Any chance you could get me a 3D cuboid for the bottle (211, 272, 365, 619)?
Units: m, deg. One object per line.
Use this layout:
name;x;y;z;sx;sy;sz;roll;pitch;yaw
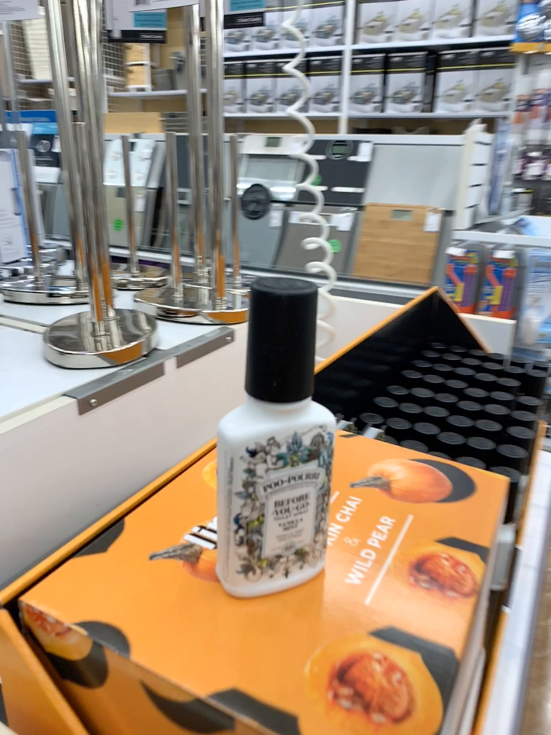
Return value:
bottle;0.003;0.036;0.262;0.055;0.151;0.033;-9;22;-26
